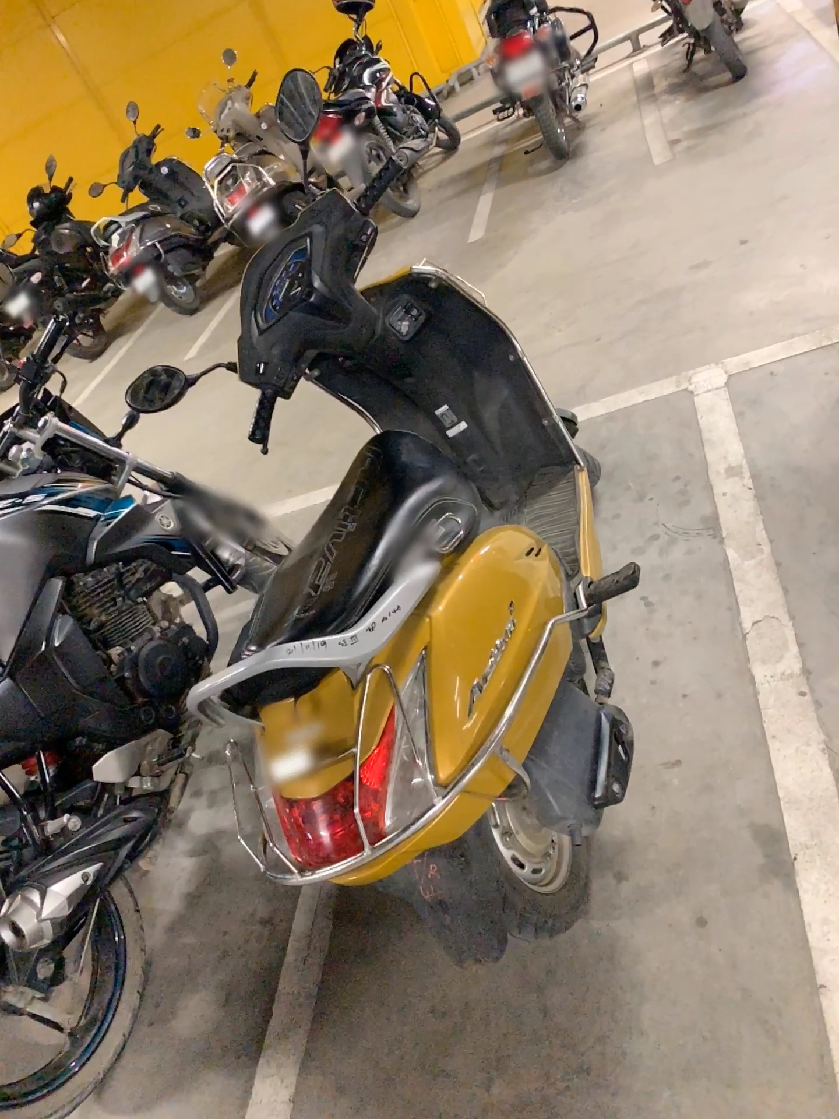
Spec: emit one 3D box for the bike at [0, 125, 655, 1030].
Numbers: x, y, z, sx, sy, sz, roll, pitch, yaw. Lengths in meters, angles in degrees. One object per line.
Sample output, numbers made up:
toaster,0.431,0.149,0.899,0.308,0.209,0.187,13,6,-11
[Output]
bike,-0.084,-0.102,1.713,0.569,0.993,1.527,-19,33,17
